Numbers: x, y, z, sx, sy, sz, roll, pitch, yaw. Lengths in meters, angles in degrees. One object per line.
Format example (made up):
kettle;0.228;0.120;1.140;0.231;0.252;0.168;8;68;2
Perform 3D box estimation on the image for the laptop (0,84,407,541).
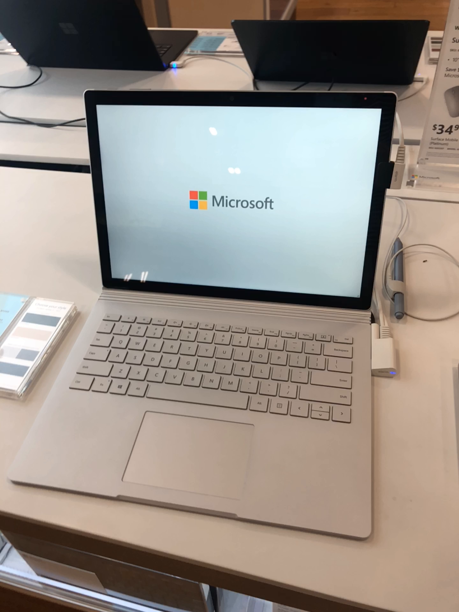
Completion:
laptop;-0.023;-0.024;0.435;0.291;0.191;0.312;5;47;11
